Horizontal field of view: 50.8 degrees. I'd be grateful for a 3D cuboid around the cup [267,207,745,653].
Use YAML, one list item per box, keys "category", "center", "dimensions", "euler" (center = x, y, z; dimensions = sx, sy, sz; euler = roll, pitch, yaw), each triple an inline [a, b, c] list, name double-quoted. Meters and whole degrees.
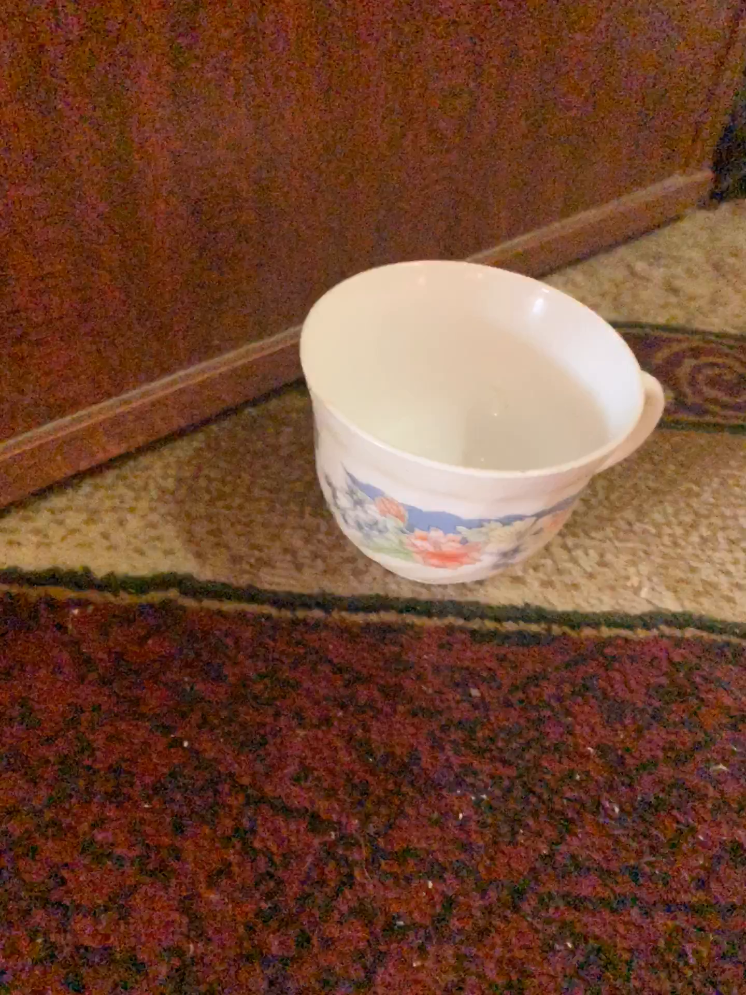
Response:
- category: "cup"
  center: [0.038, -0.024, 0.198]
  dimensions: [0.109, 0.053, 0.083]
  euler: [-13, 48, -17]
